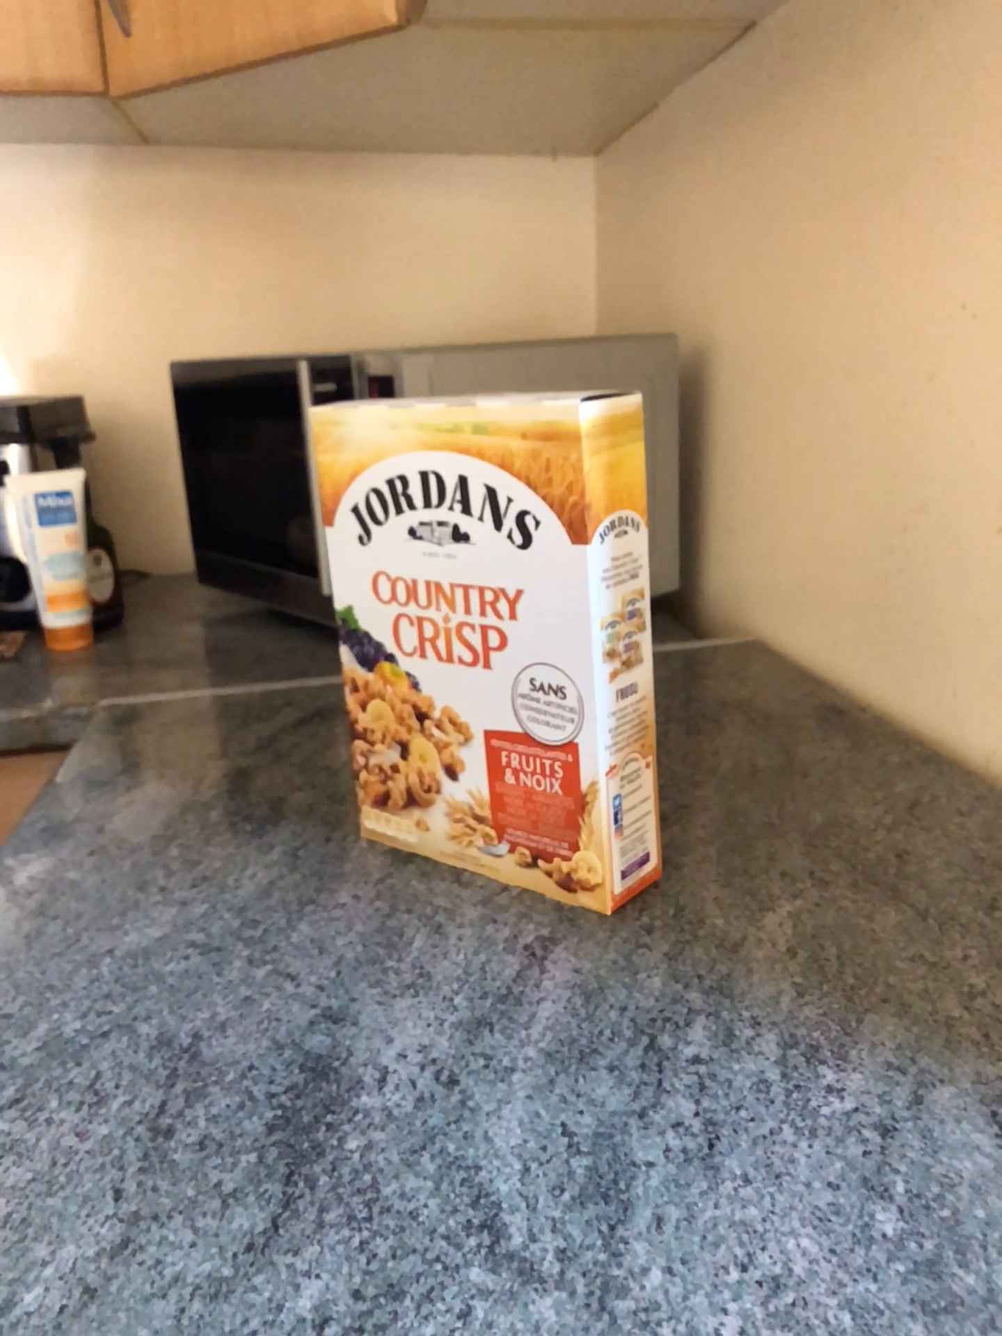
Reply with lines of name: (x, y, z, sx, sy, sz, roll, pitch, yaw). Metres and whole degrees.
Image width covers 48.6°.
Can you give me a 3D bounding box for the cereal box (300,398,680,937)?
cereal box: (-0.006, -0.011, 0.581, 0.190, 0.249, 0.060, 10, 21, 37)
